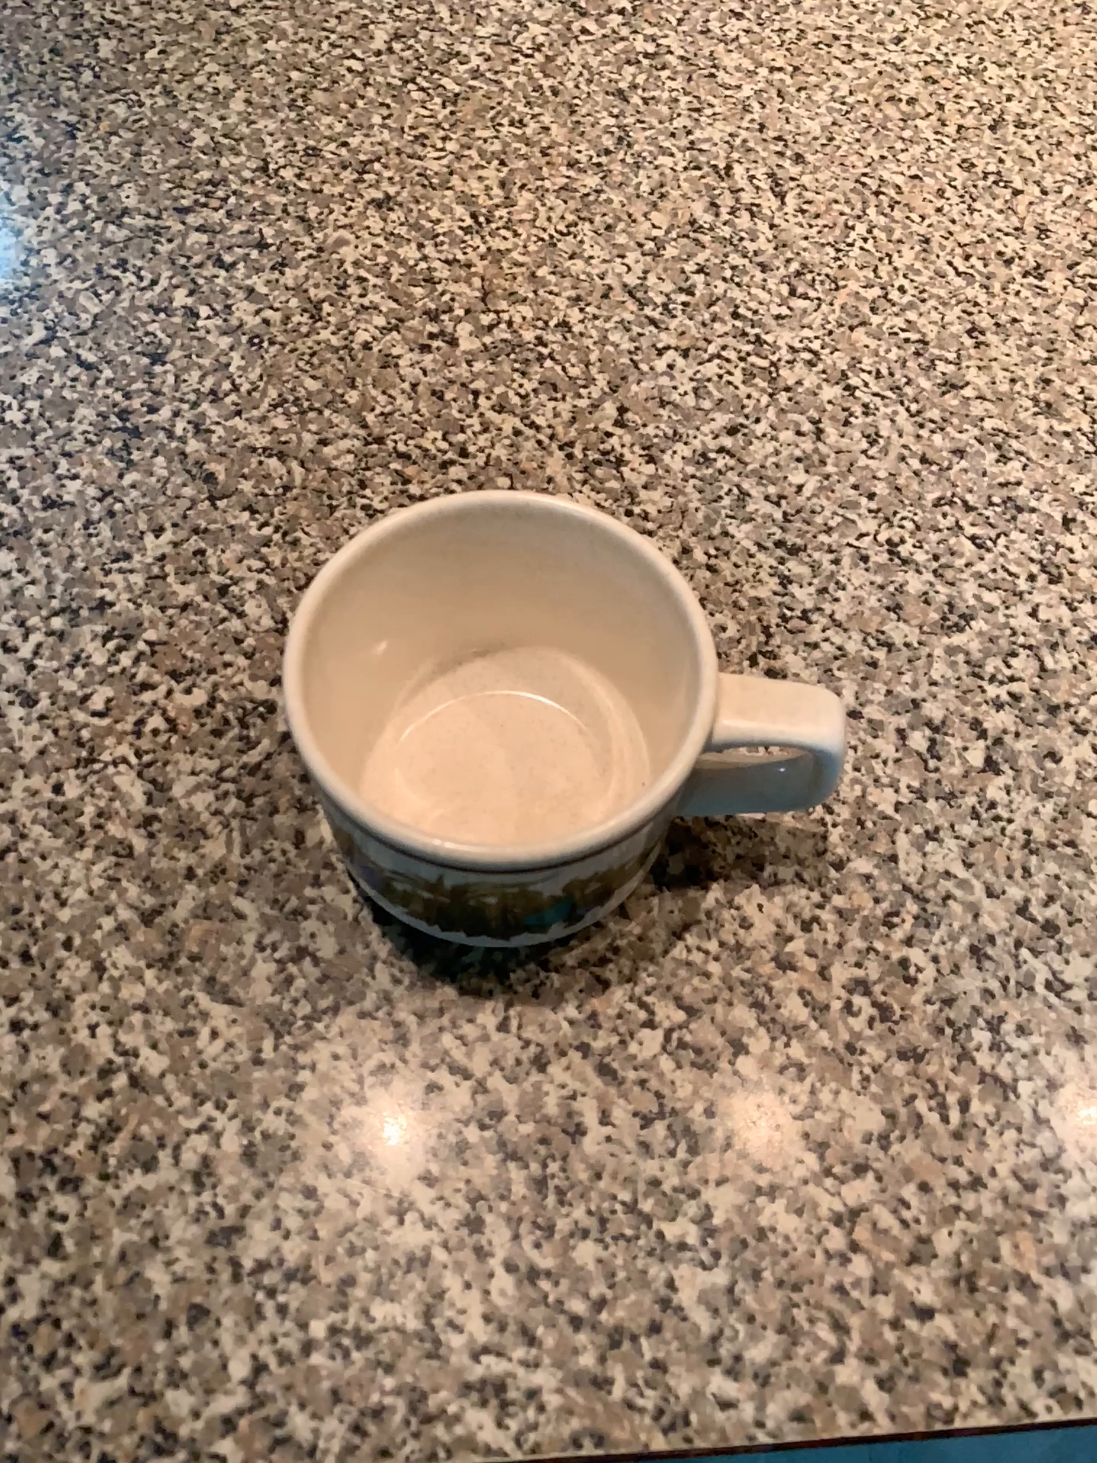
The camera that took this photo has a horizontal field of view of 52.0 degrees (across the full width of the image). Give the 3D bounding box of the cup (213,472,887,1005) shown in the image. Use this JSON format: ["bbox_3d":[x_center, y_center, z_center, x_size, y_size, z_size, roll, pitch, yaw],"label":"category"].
[{"bbox_3d":[0.003,0.002,0.238,0.117,0.054,0.088,5,62,0],"label":"cup"}]
